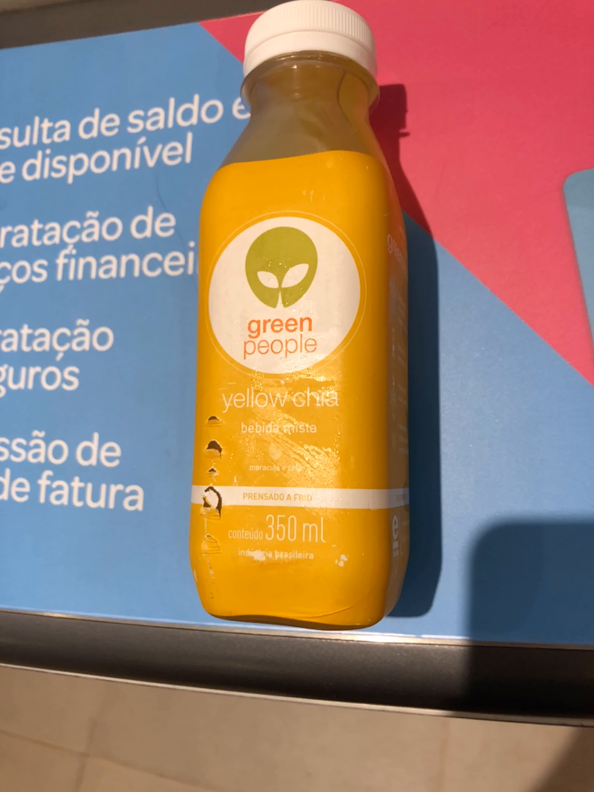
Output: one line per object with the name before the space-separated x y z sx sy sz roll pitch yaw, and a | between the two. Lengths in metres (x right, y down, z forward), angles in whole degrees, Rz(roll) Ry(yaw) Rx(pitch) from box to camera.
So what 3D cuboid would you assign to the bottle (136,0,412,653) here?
bottle | -0.002 -0.027 0.199 0.060 0.060 0.180 -2 81 17
